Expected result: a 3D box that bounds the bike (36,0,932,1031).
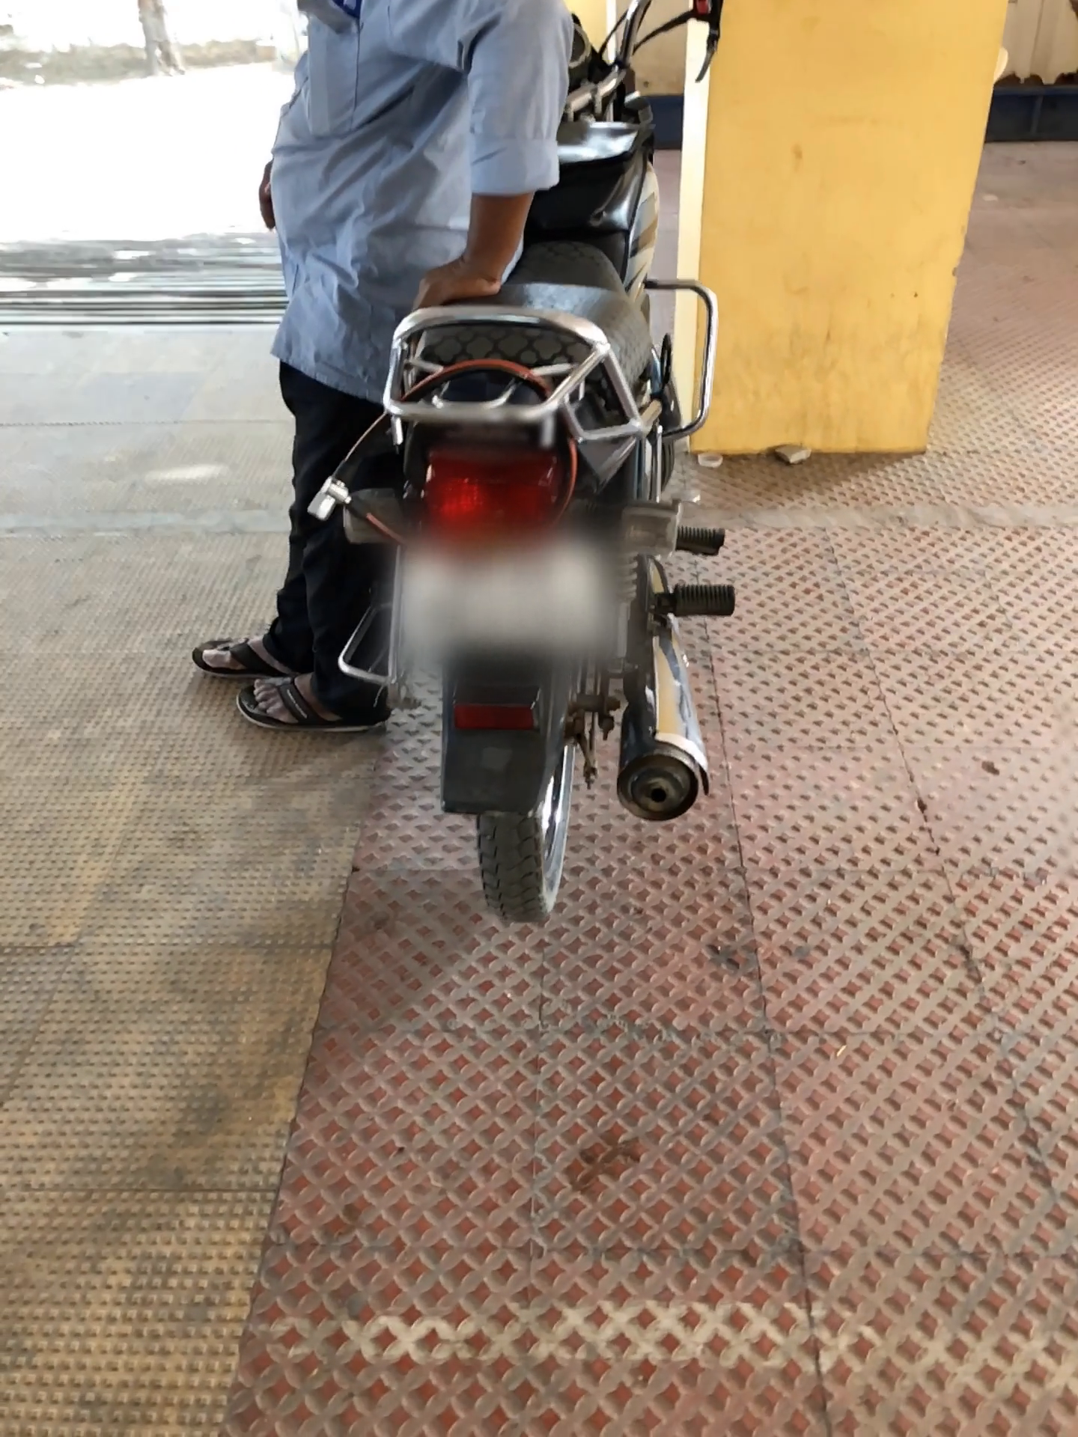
[{"bbox_3d":[-0.032,-0.573,1.856,0.677,1.036,1.687,0,38,2],"label":"bike"}]
